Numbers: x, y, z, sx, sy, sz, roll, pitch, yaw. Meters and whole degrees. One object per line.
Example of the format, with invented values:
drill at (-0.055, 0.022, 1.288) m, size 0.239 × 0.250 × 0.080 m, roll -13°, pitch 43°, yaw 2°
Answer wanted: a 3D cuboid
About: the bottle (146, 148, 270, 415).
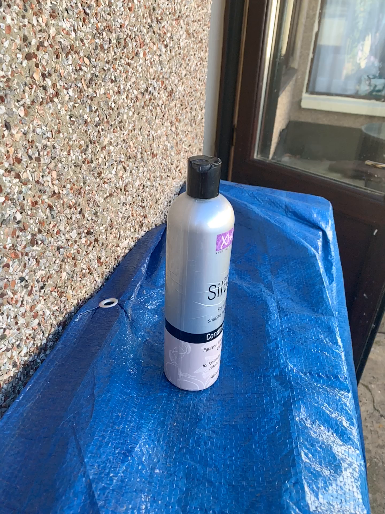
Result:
bottle at (0.007, 0.023, 0.323) m, size 0.060 × 0.198 × 0.071 m, roll 19°, pitch 33°, yaw 25°
